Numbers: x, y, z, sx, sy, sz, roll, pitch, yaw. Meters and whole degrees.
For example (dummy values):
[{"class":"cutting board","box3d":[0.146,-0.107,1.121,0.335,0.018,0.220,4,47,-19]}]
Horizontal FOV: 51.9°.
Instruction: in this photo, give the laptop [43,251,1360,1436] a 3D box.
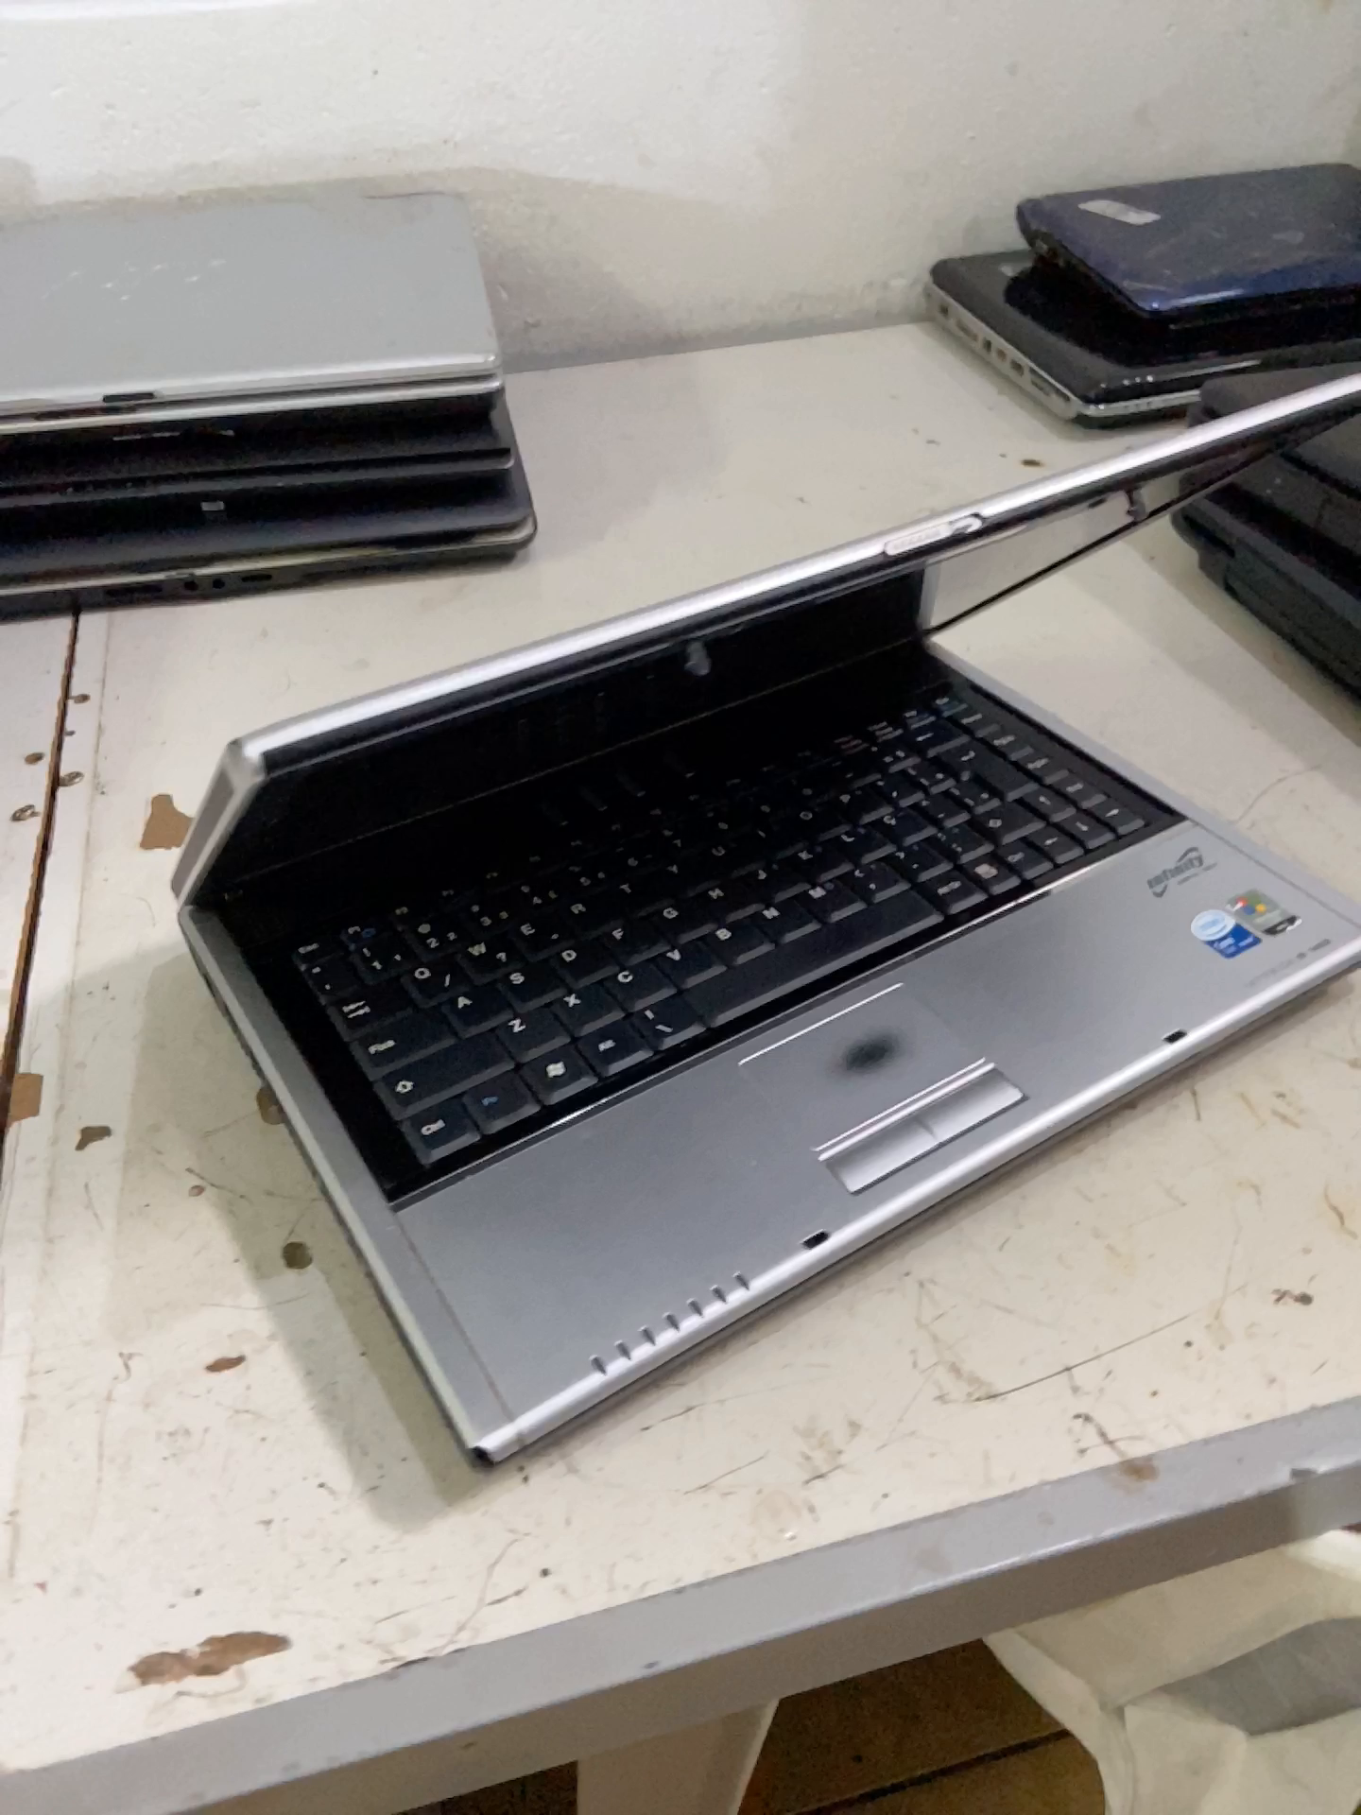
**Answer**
[{"class":"laptop","box3d":[0.031,-0.057,0.421,0.331,0.164,0.228,-23,44,-24]}]
